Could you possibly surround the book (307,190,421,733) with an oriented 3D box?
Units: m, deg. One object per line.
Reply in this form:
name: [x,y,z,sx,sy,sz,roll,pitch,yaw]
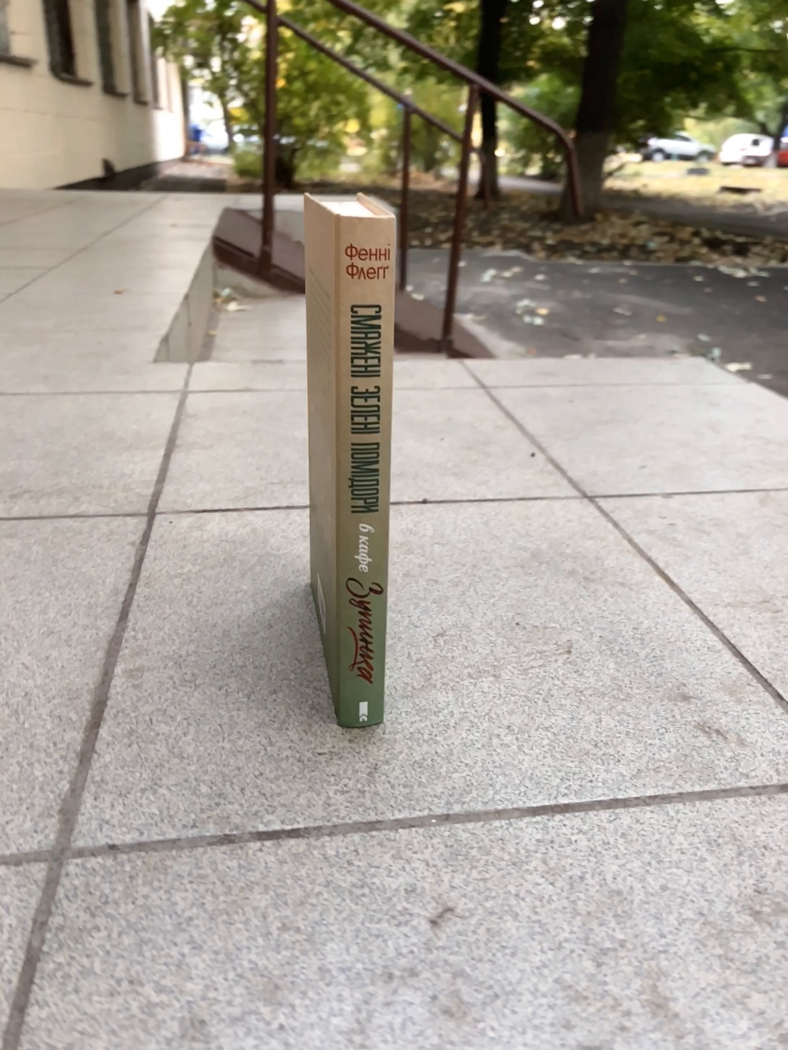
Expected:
book: [-0.018,-0.037,0.393,0.030,0.209,0.141,-3,23,-8]
